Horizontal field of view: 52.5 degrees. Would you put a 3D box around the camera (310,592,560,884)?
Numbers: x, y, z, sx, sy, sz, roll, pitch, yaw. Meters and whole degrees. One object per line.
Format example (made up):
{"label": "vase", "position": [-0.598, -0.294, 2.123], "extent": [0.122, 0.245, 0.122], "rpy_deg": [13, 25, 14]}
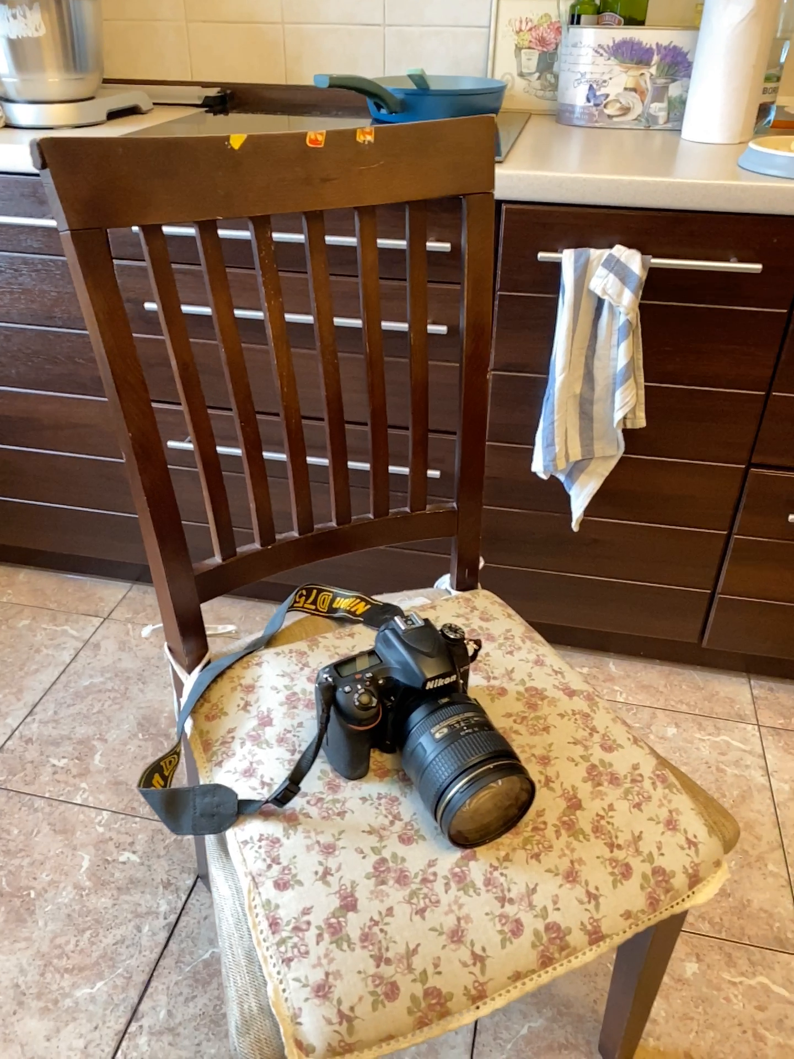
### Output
{"label": "camera", "position": [0.023, 0.163, 0.668], "extent": [0.135, 0.119, 0.165], "rpy_deg": [-15, 35, -23]}
